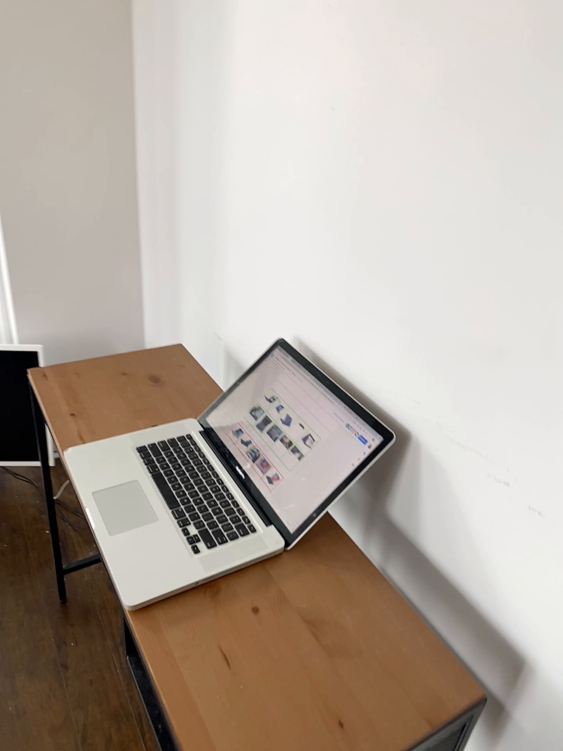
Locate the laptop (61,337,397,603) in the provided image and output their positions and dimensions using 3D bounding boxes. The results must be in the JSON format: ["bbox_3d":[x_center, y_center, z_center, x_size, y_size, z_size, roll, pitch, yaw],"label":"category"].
[{"bbox_3d":[-0.102,0.116,0.986,0.439,0.151,0.369,-13,35,-28],"label":"laptop"}]
